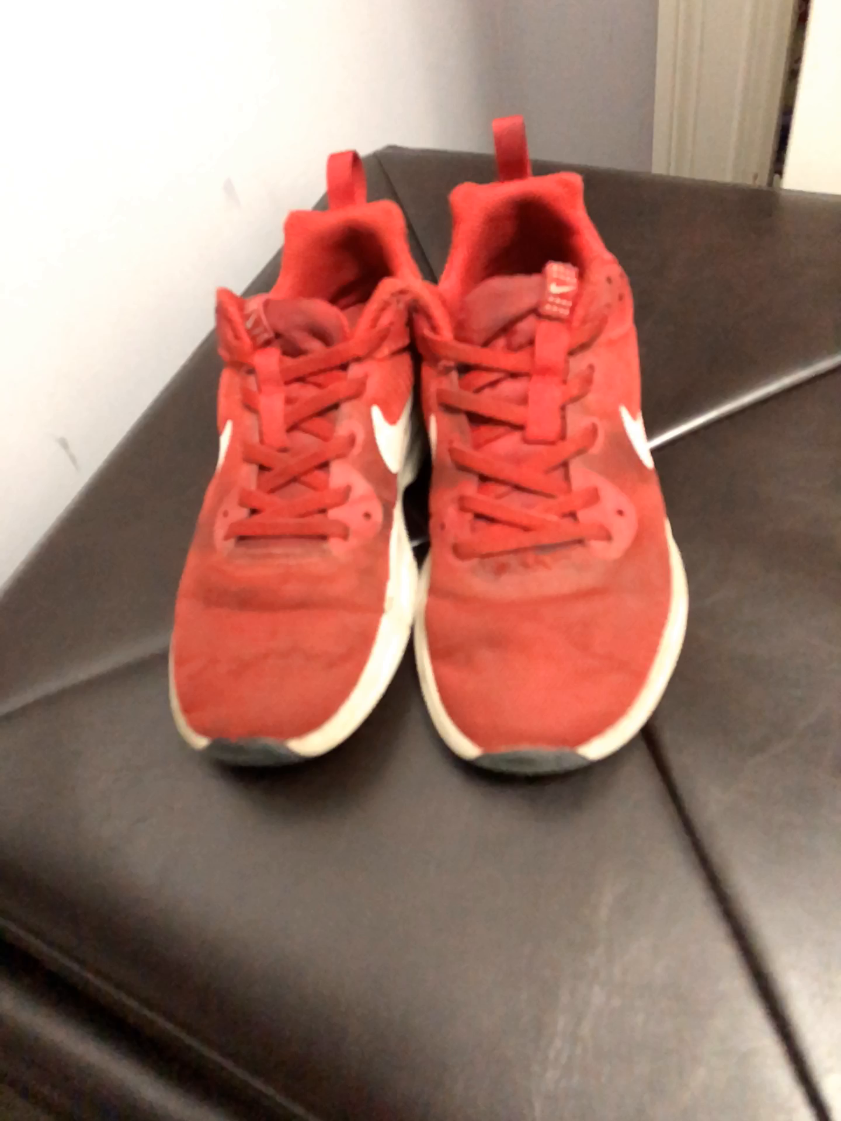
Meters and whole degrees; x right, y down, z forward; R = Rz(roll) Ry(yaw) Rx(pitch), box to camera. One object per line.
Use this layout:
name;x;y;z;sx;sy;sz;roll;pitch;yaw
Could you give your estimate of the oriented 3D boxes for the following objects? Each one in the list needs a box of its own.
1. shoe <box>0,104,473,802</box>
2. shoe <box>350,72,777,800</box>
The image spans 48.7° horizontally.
shoe;-0.050;-0.044;0.326;0.095;0.100;0.220;3;59;14
shoe;0.043;-0.045;0.310;0.095;0.100;0.221;-3;58;9
